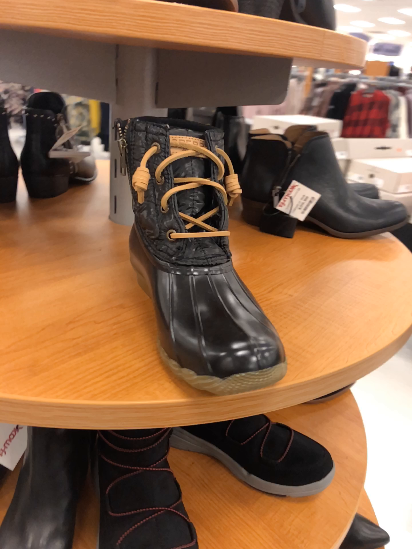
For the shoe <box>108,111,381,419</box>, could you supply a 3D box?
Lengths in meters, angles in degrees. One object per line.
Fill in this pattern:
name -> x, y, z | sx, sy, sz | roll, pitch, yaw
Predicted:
shoe -> 0.001, -0.035, 0.368 | 0.112, 0.156, 0.231 | -6, 26, -21
